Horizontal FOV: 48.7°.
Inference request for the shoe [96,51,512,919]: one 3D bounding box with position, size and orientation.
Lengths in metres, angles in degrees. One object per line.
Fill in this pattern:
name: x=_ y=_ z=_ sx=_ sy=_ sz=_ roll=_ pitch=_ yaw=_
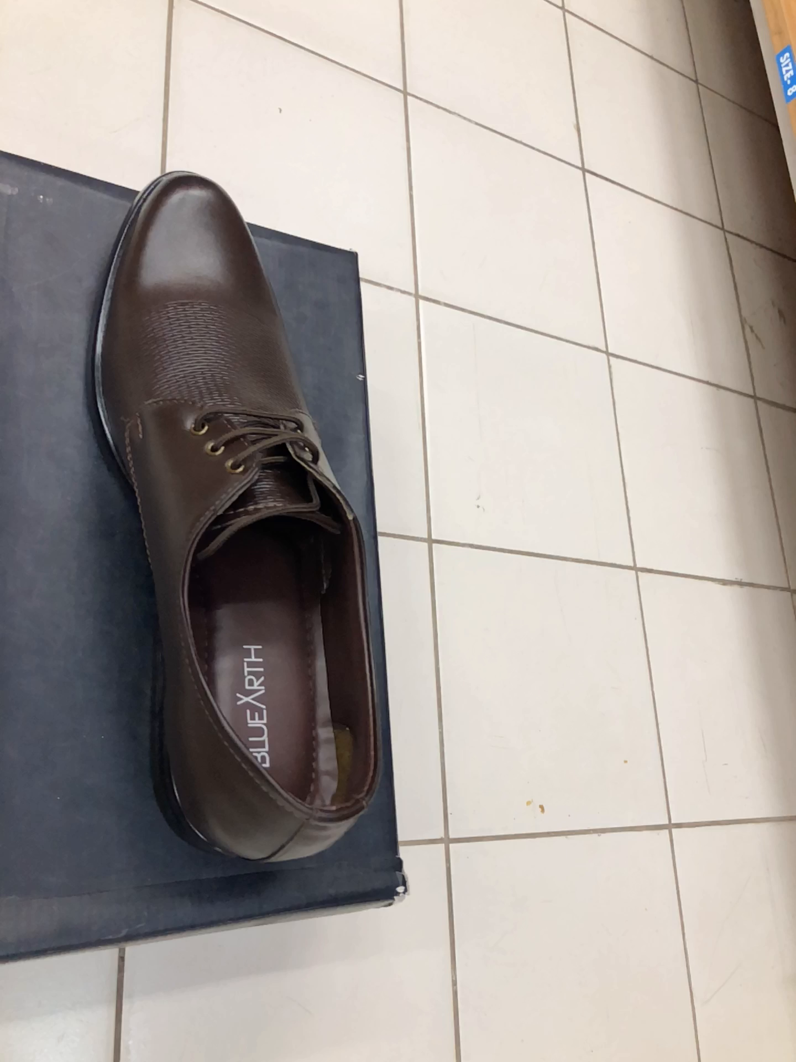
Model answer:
shoe: x=-0.050 y=-0.019 z=0.357 sx=0.111 sy=0.099 sz=0.300 roll=3 pitch=72 yaw=-32
